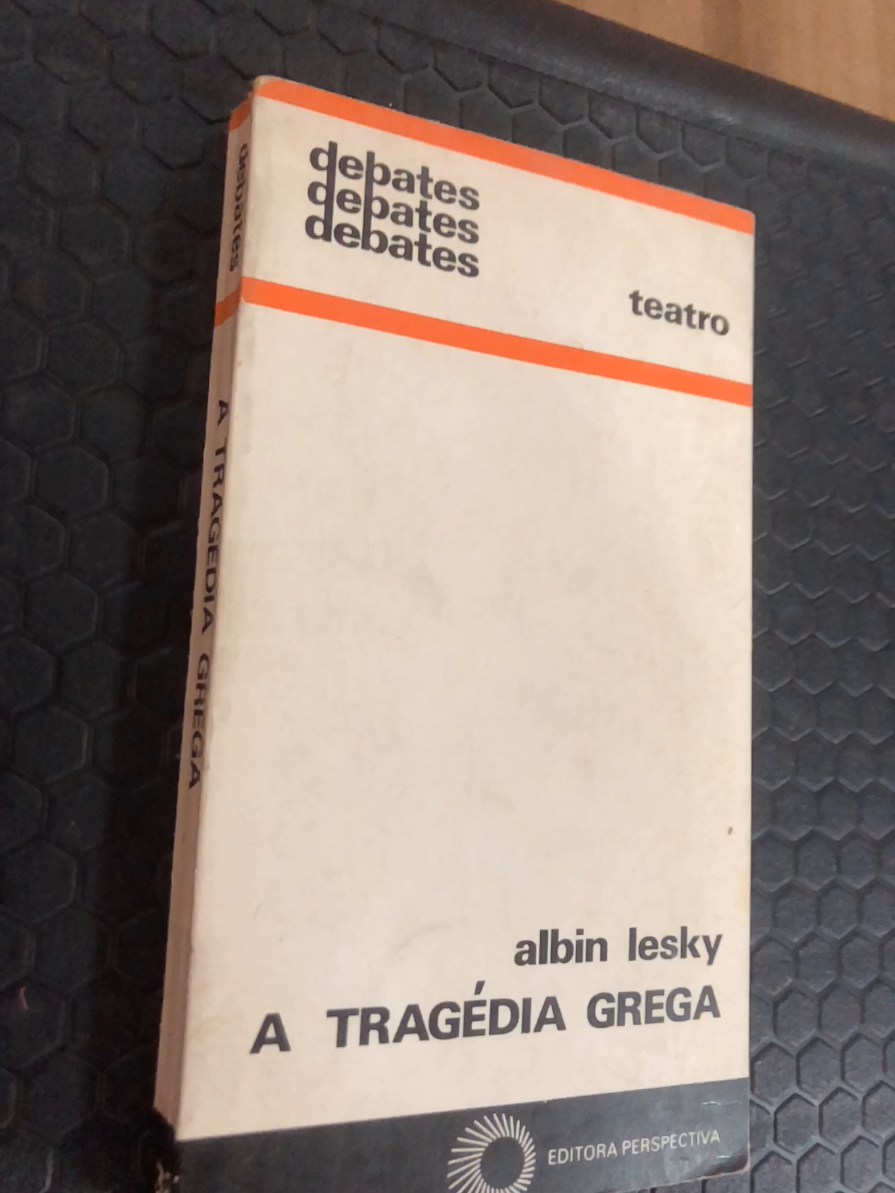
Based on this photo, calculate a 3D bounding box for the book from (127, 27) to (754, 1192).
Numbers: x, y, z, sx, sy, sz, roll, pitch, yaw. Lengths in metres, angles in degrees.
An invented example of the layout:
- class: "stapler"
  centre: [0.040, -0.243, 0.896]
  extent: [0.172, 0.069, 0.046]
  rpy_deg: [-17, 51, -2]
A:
- class: "book"
  centre: [0.007, 0.007, 0.196]
  extent: [0.114, 0.020, 0.207]
  rpy_deg: [6, 82, -23]
